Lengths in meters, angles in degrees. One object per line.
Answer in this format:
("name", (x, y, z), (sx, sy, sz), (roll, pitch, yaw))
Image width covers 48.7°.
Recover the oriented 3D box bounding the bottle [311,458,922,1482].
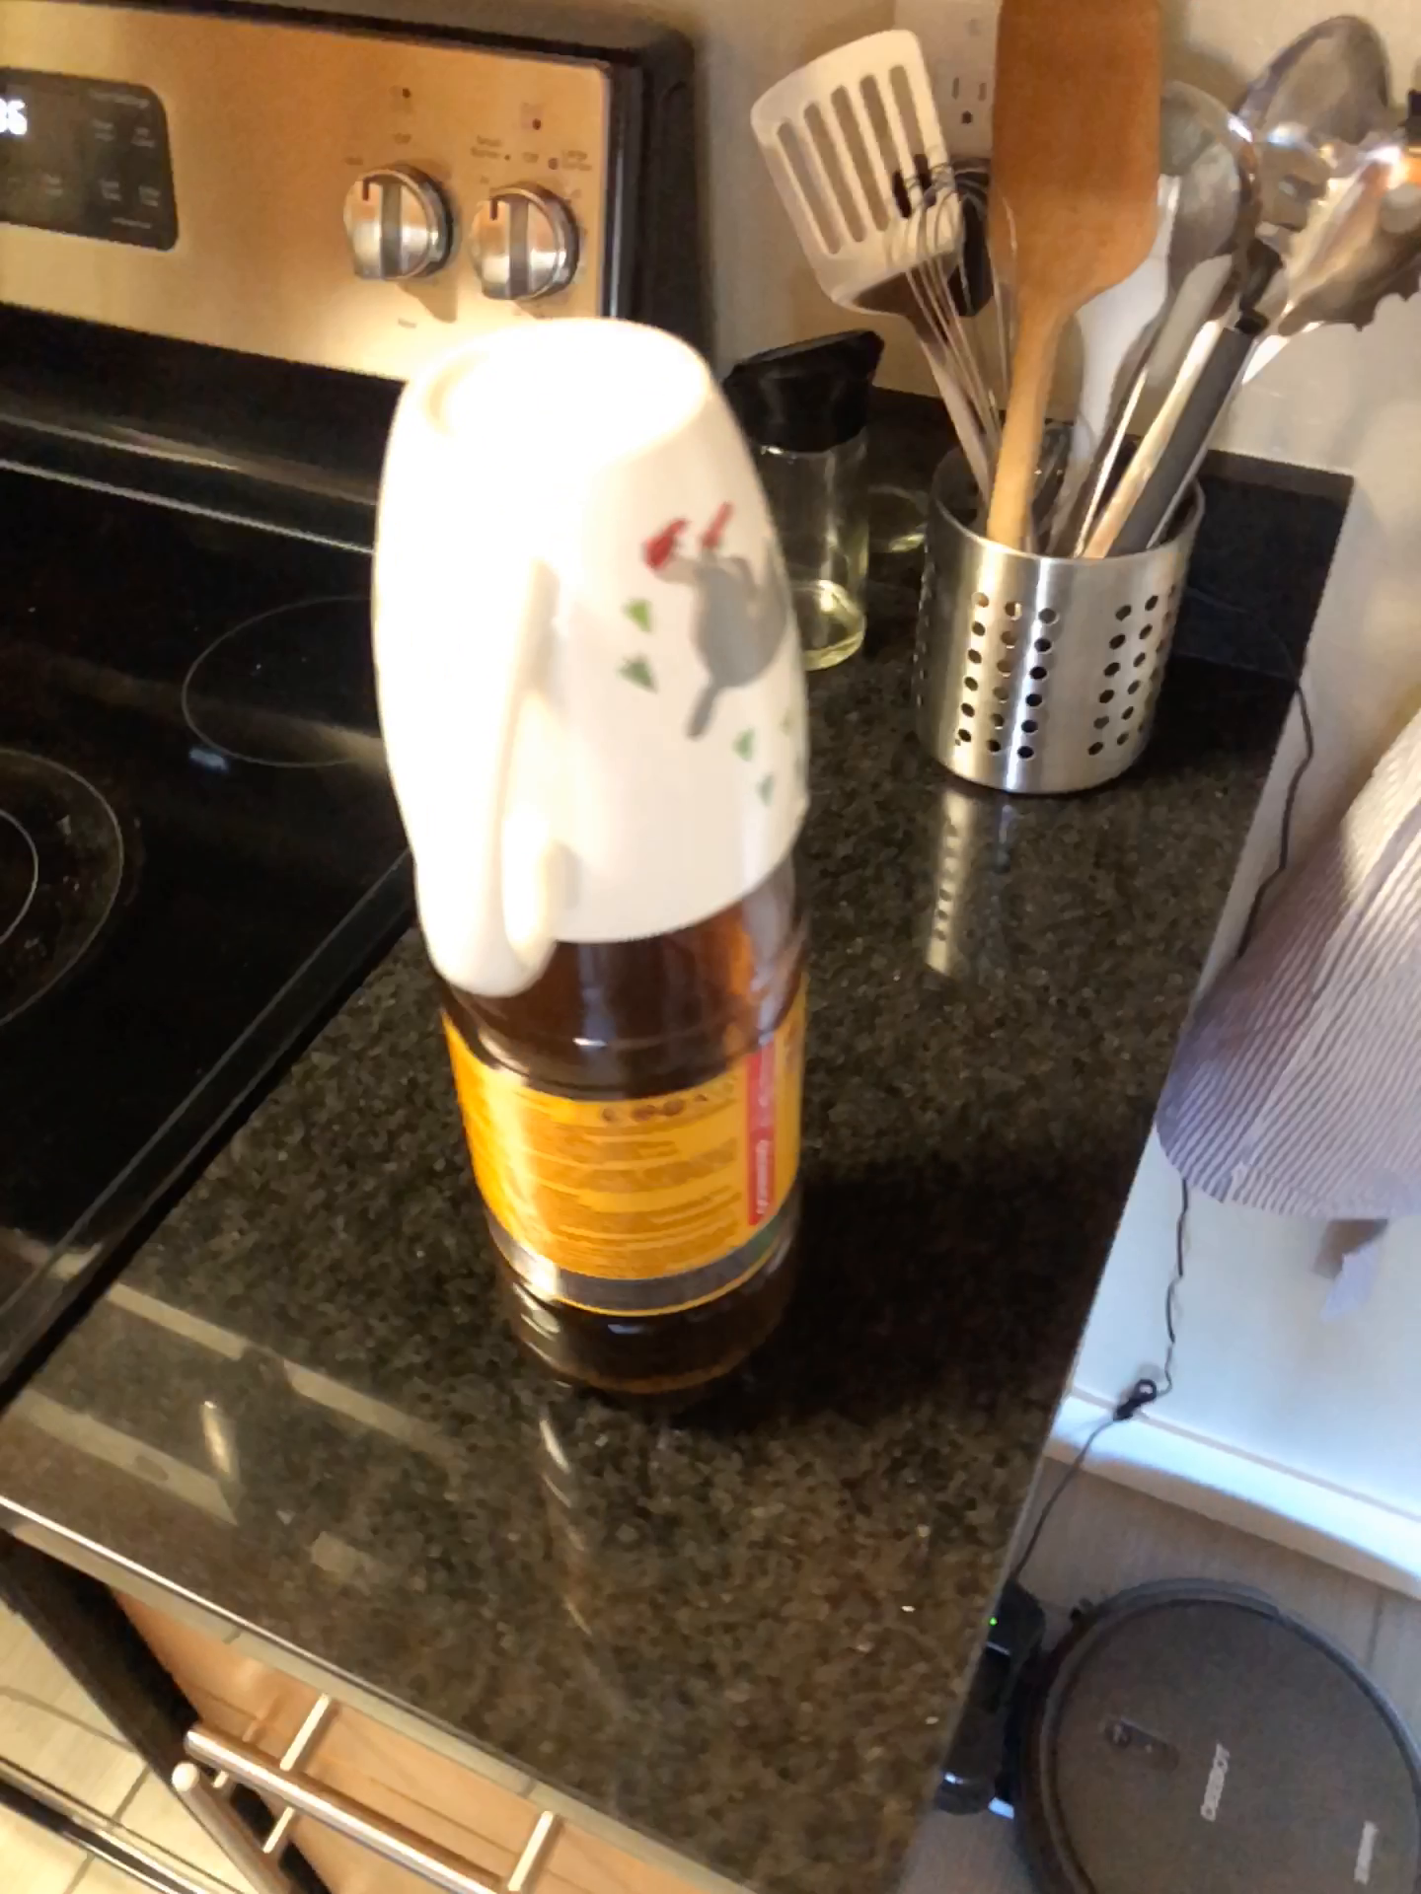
("bottle", (-0.020, 0.023, 0.452), (0.100, 0.279, 0.100), (-1, 45, 1))
